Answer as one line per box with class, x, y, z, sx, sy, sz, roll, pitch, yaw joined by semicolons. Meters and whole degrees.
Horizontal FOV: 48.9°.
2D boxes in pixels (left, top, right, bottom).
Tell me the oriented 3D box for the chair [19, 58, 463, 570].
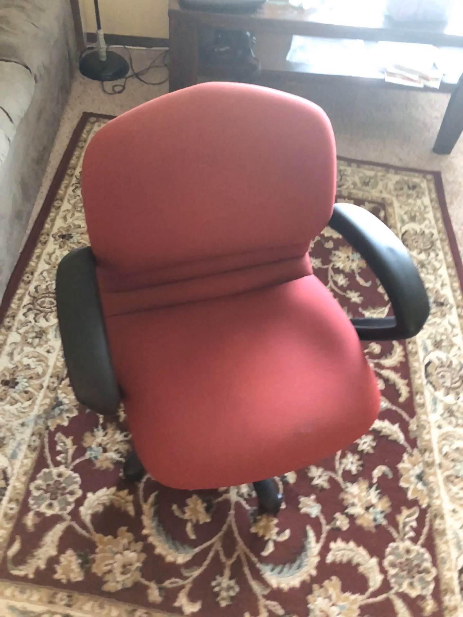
chair;0.021;0.033;1.030;0.650;0.730;0.620;-11;56;-14
